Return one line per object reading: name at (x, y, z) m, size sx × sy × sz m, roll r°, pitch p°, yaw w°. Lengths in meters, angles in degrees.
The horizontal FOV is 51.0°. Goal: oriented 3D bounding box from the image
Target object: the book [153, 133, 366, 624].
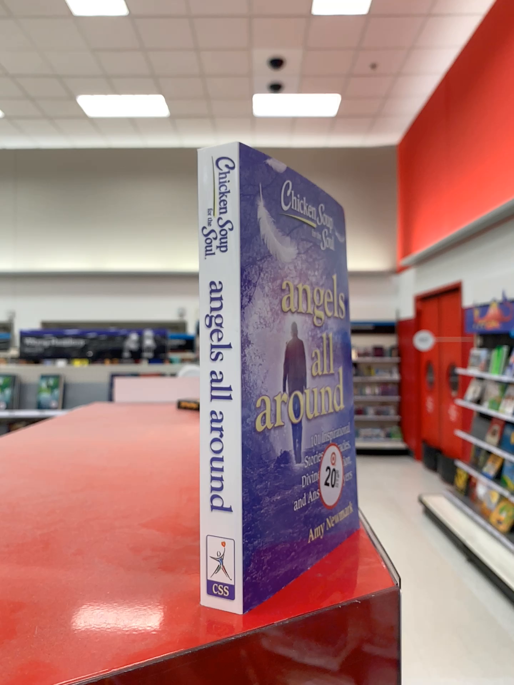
book at (0.010, 0.014, 0.302) m, size 0.041 × 0.211 × 0.142 m, roll -4°, pitch -2°, yaw 32°
